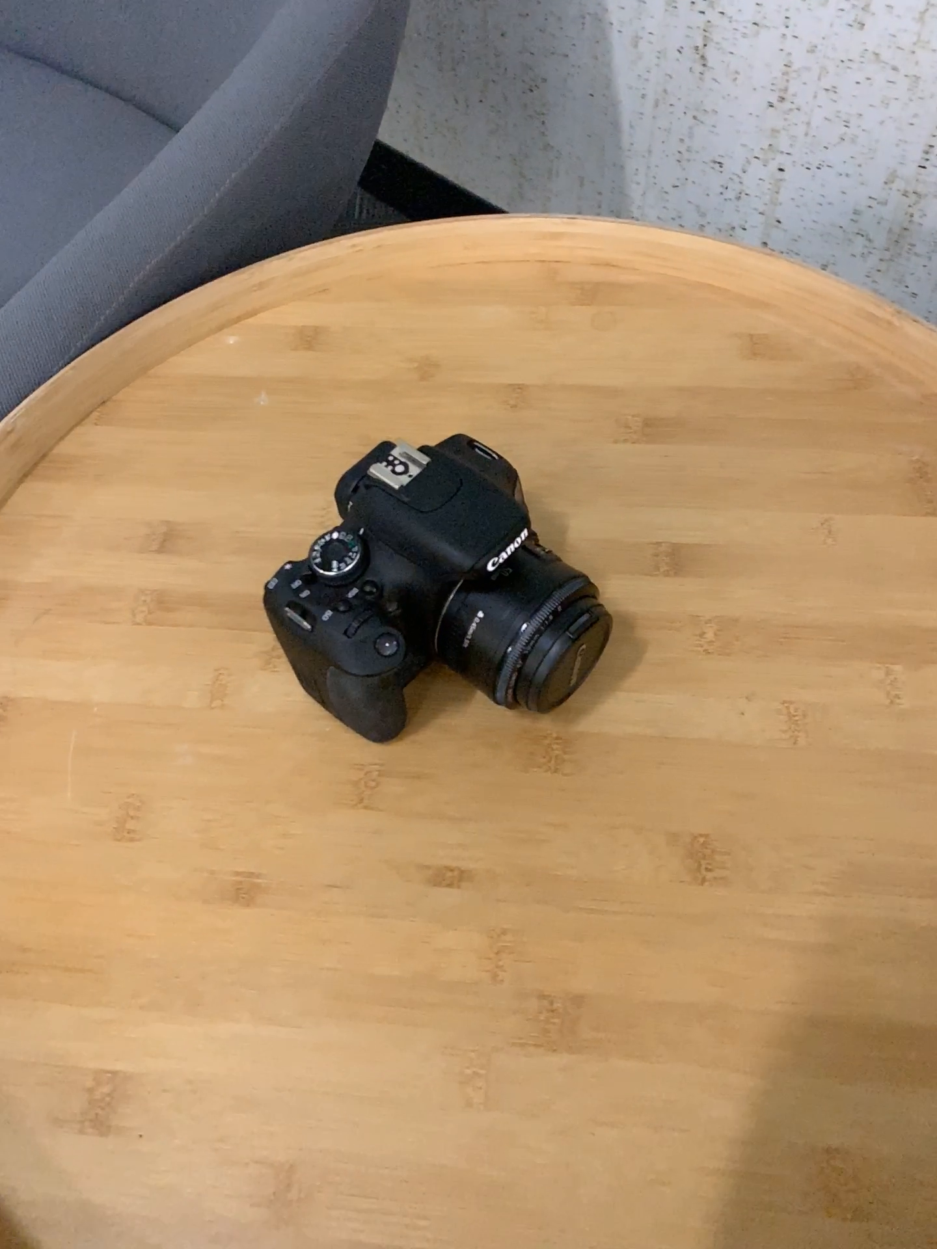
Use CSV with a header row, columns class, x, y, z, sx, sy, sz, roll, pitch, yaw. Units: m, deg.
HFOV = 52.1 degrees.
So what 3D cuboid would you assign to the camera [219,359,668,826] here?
class,x,y,z,sx,sy,sz,roll,pitch,yaw
camera,-0.006,-0.015,0.416,0.117,0.100,0.133,34,67,22
